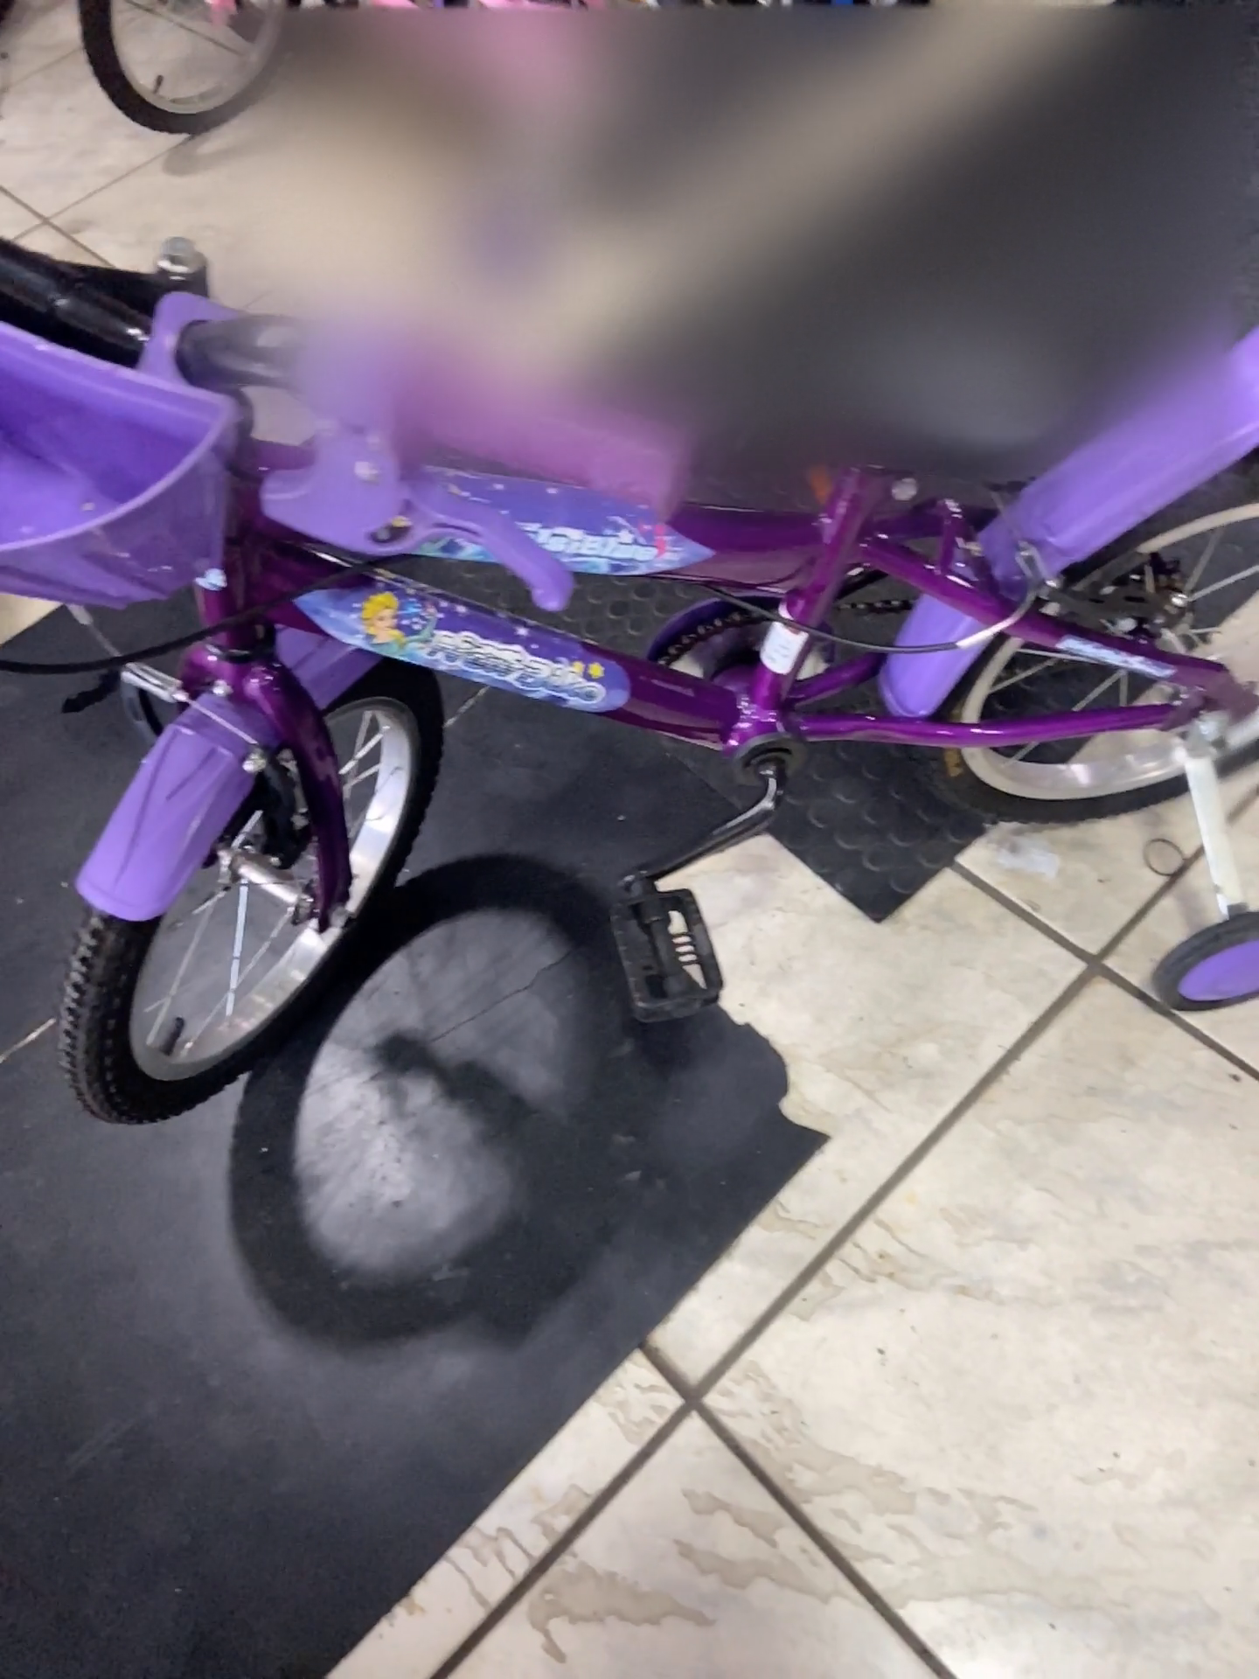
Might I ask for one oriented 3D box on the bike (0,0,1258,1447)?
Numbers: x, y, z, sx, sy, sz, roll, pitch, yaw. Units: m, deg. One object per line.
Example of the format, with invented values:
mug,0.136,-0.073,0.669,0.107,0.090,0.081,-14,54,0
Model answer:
bike,0.063,-0.135,0.723,0.971,0.743,0.449,-21,55,-5
